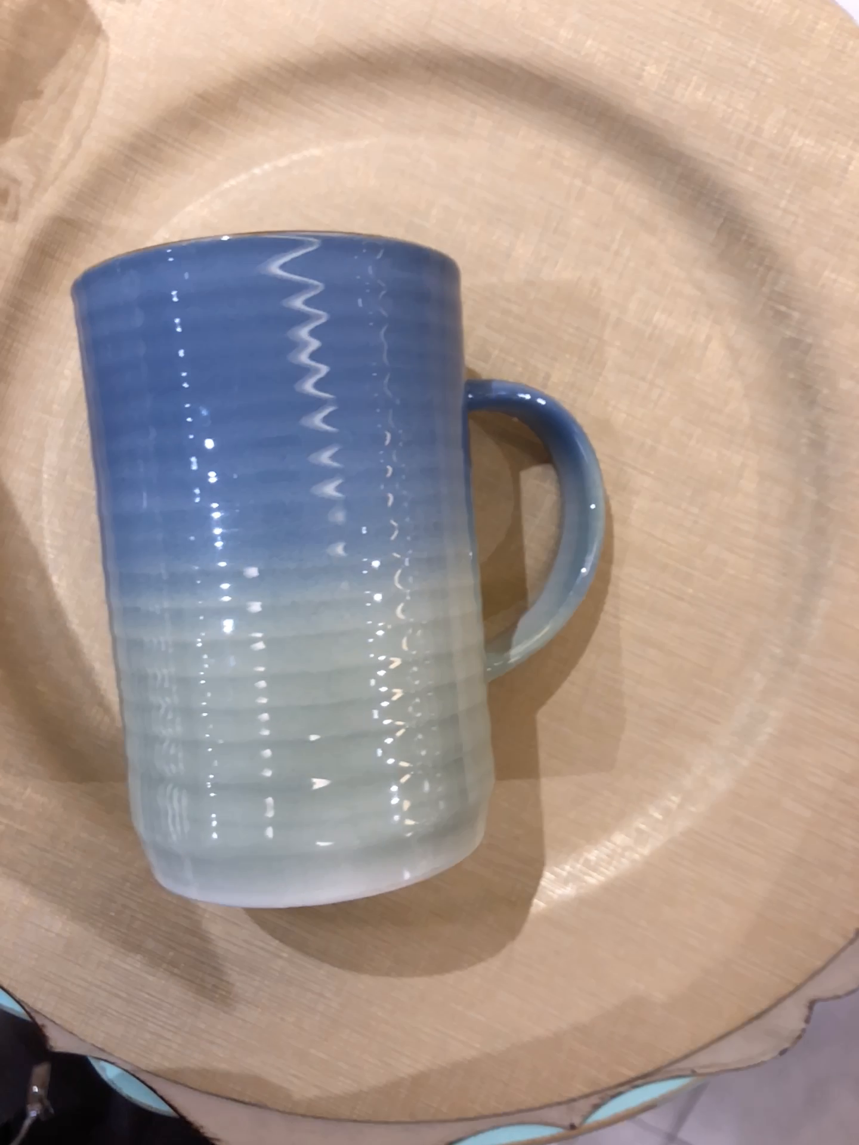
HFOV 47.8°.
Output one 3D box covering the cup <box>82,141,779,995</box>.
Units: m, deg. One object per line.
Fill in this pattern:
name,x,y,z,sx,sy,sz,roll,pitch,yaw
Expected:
cup,-0.002,-0.005,0.205,0.120,0.060,0.140,-5,90,-17
